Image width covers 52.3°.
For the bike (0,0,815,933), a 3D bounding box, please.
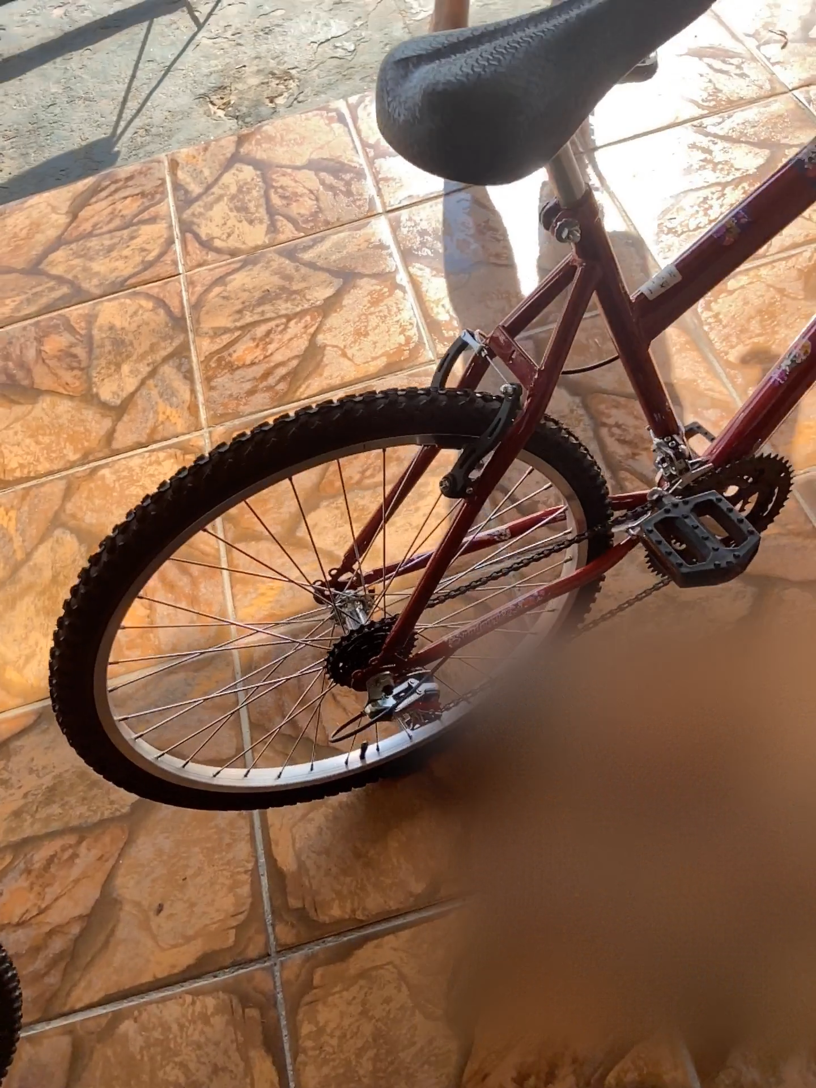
[{"bbox_3d":[0.269,-0.142,0.747,1.408,1.083,0.551,-15,59,3],"label":"bike"}]
